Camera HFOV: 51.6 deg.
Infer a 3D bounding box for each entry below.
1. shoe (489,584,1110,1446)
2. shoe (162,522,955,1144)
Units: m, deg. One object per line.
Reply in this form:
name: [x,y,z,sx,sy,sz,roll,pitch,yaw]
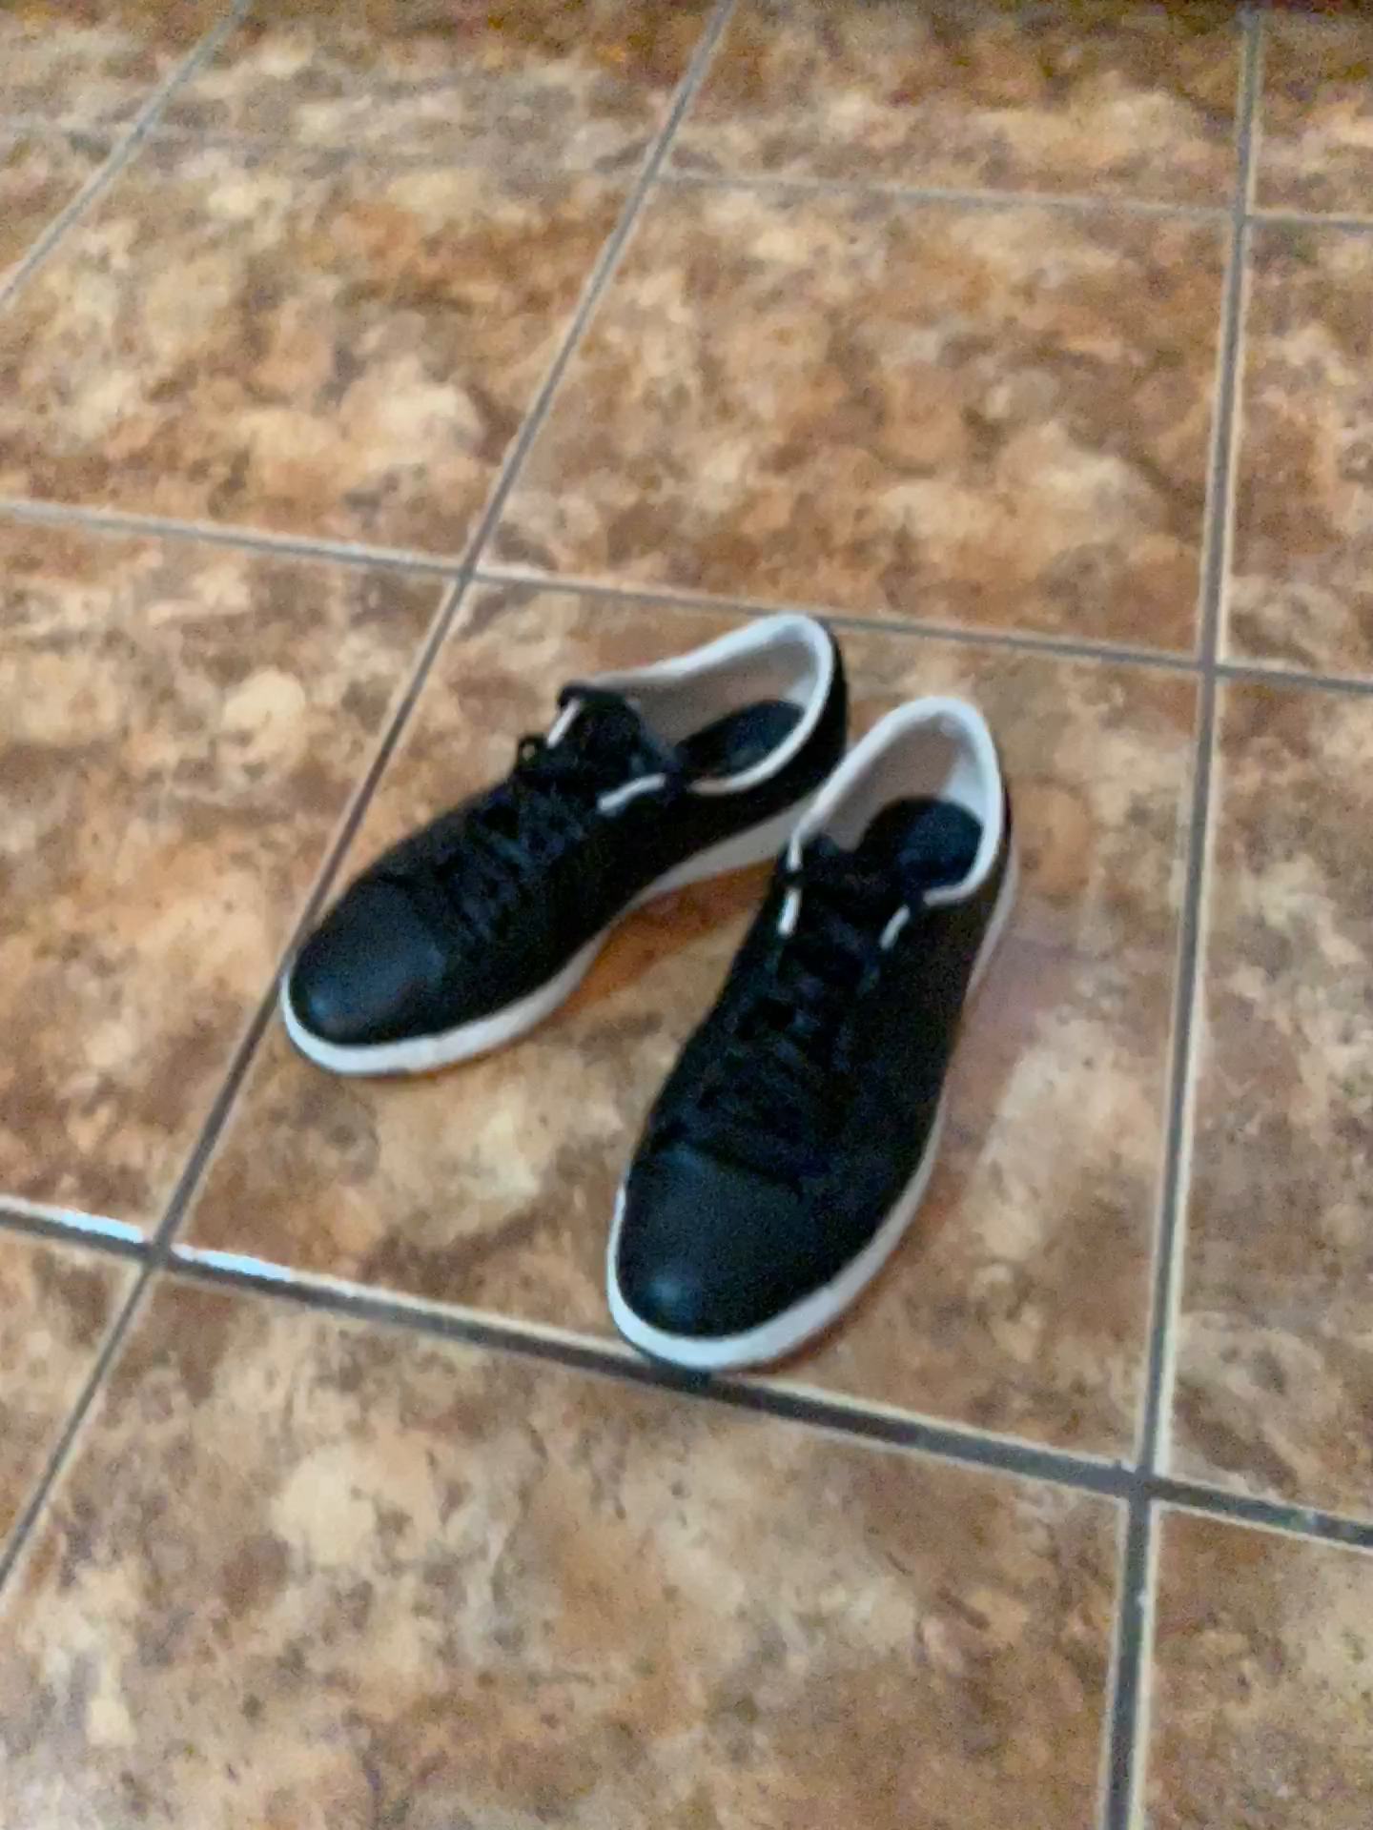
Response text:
shoe: [0.047,0.023,0.469,0.090,0.103,0.255,21,59,17]
shoe: [-0.038,-0.033,0.513,0.255,0.093,0.087,-27,58,-15]
